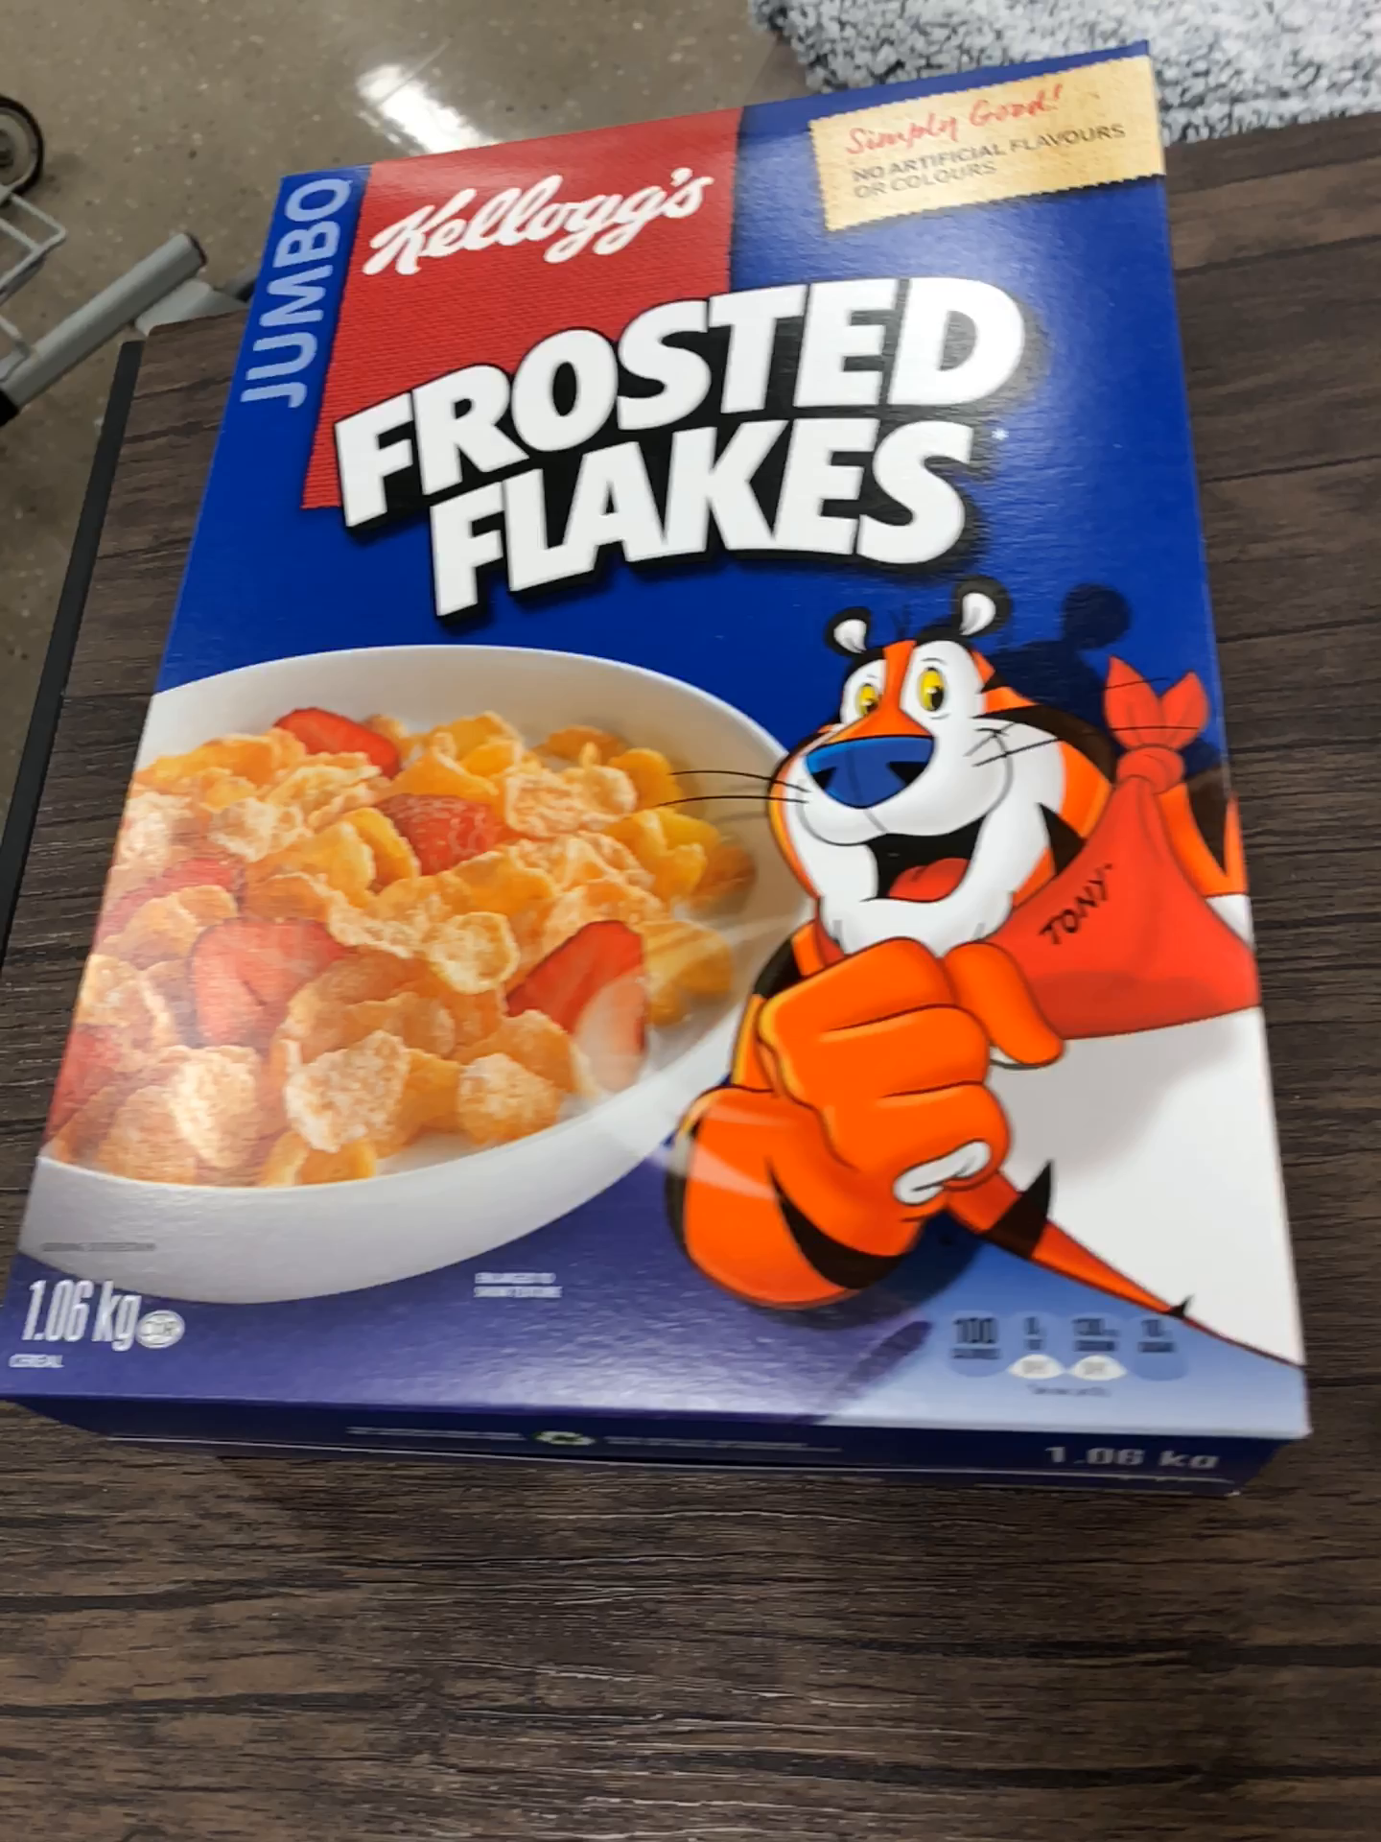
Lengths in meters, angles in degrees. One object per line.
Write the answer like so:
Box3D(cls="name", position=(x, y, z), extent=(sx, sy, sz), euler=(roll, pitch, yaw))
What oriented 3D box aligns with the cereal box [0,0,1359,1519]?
Box3D(cls="cereal box", position=(0.002, -0.061, 0.383), extent=(0.250, 0.100, 0.370), euler=(-2, 63, 13))
